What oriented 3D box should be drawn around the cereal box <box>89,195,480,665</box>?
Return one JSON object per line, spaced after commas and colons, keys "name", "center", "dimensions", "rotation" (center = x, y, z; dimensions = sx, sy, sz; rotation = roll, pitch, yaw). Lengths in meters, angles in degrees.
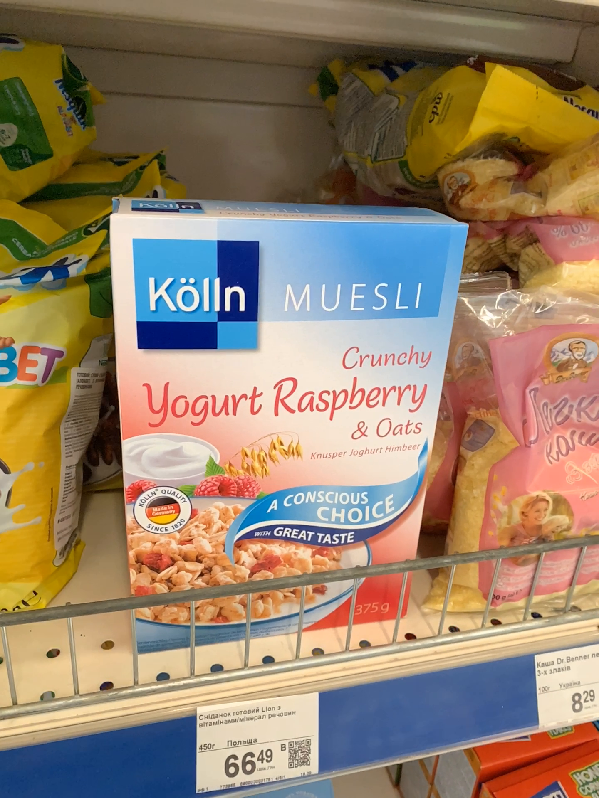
{"name": "cereal box", "center": [-0.013, 0.016, 0.302], "dimensions": [0.150, 0.208, 0.060], "rotation": [-2, 24, -13]}
